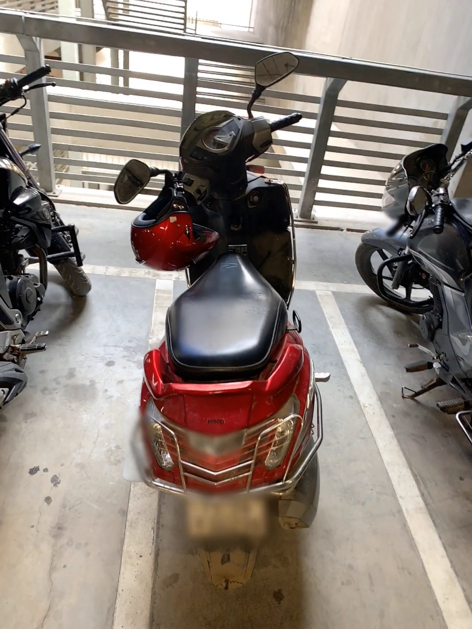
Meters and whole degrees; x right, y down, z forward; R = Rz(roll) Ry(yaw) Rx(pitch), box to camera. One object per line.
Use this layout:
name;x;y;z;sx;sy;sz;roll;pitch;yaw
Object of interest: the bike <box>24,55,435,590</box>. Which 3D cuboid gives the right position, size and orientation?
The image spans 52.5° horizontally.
bike;-0.148;-0.170;1.903;0.725;1.164;1.859;3;36;-8
